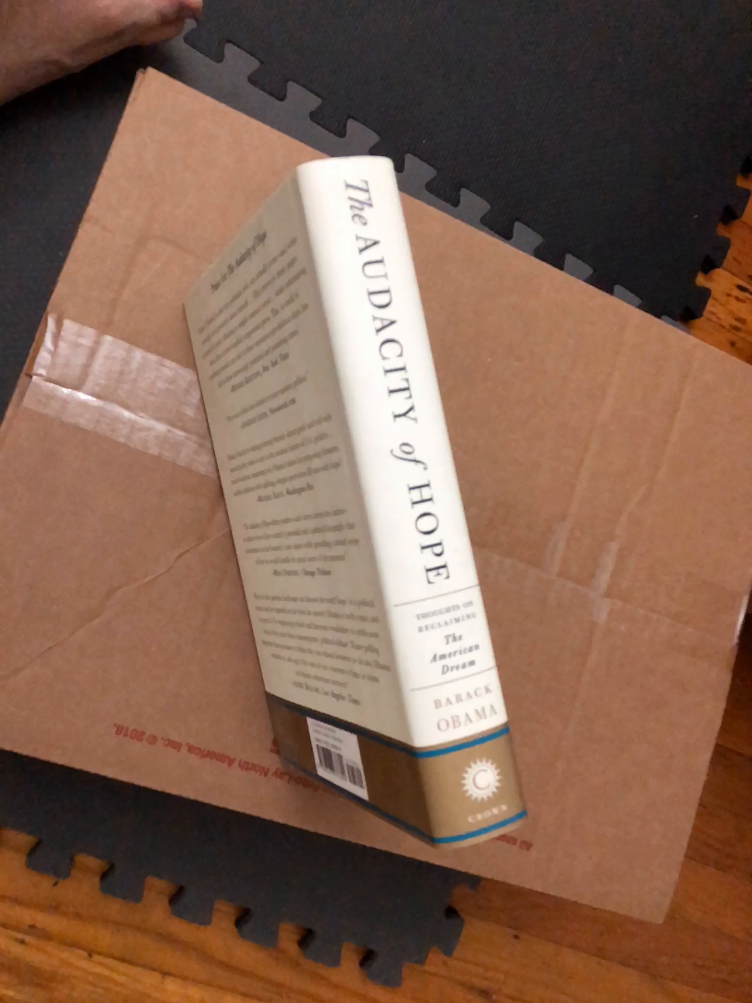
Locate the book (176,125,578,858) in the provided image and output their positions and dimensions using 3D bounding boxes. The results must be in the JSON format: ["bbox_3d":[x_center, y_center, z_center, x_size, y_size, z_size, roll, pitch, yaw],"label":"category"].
[{"bbox_3d":[-0.013,-0.002,0.365,0.060,0.170,0.250,-12,92,-28],"label":"book"}]
